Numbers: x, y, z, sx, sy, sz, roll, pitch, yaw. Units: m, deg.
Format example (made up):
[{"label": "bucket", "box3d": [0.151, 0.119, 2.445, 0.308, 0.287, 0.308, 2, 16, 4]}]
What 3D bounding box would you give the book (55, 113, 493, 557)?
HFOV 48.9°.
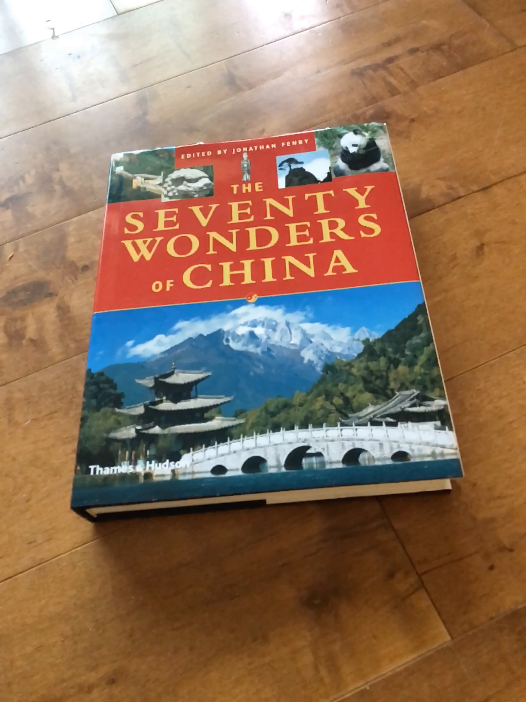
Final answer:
[{"label": "book", "box3d": [-0.003, -0.028, 0.384, 0.220, 0.050, 0.291, -6, 60, 3]}]
